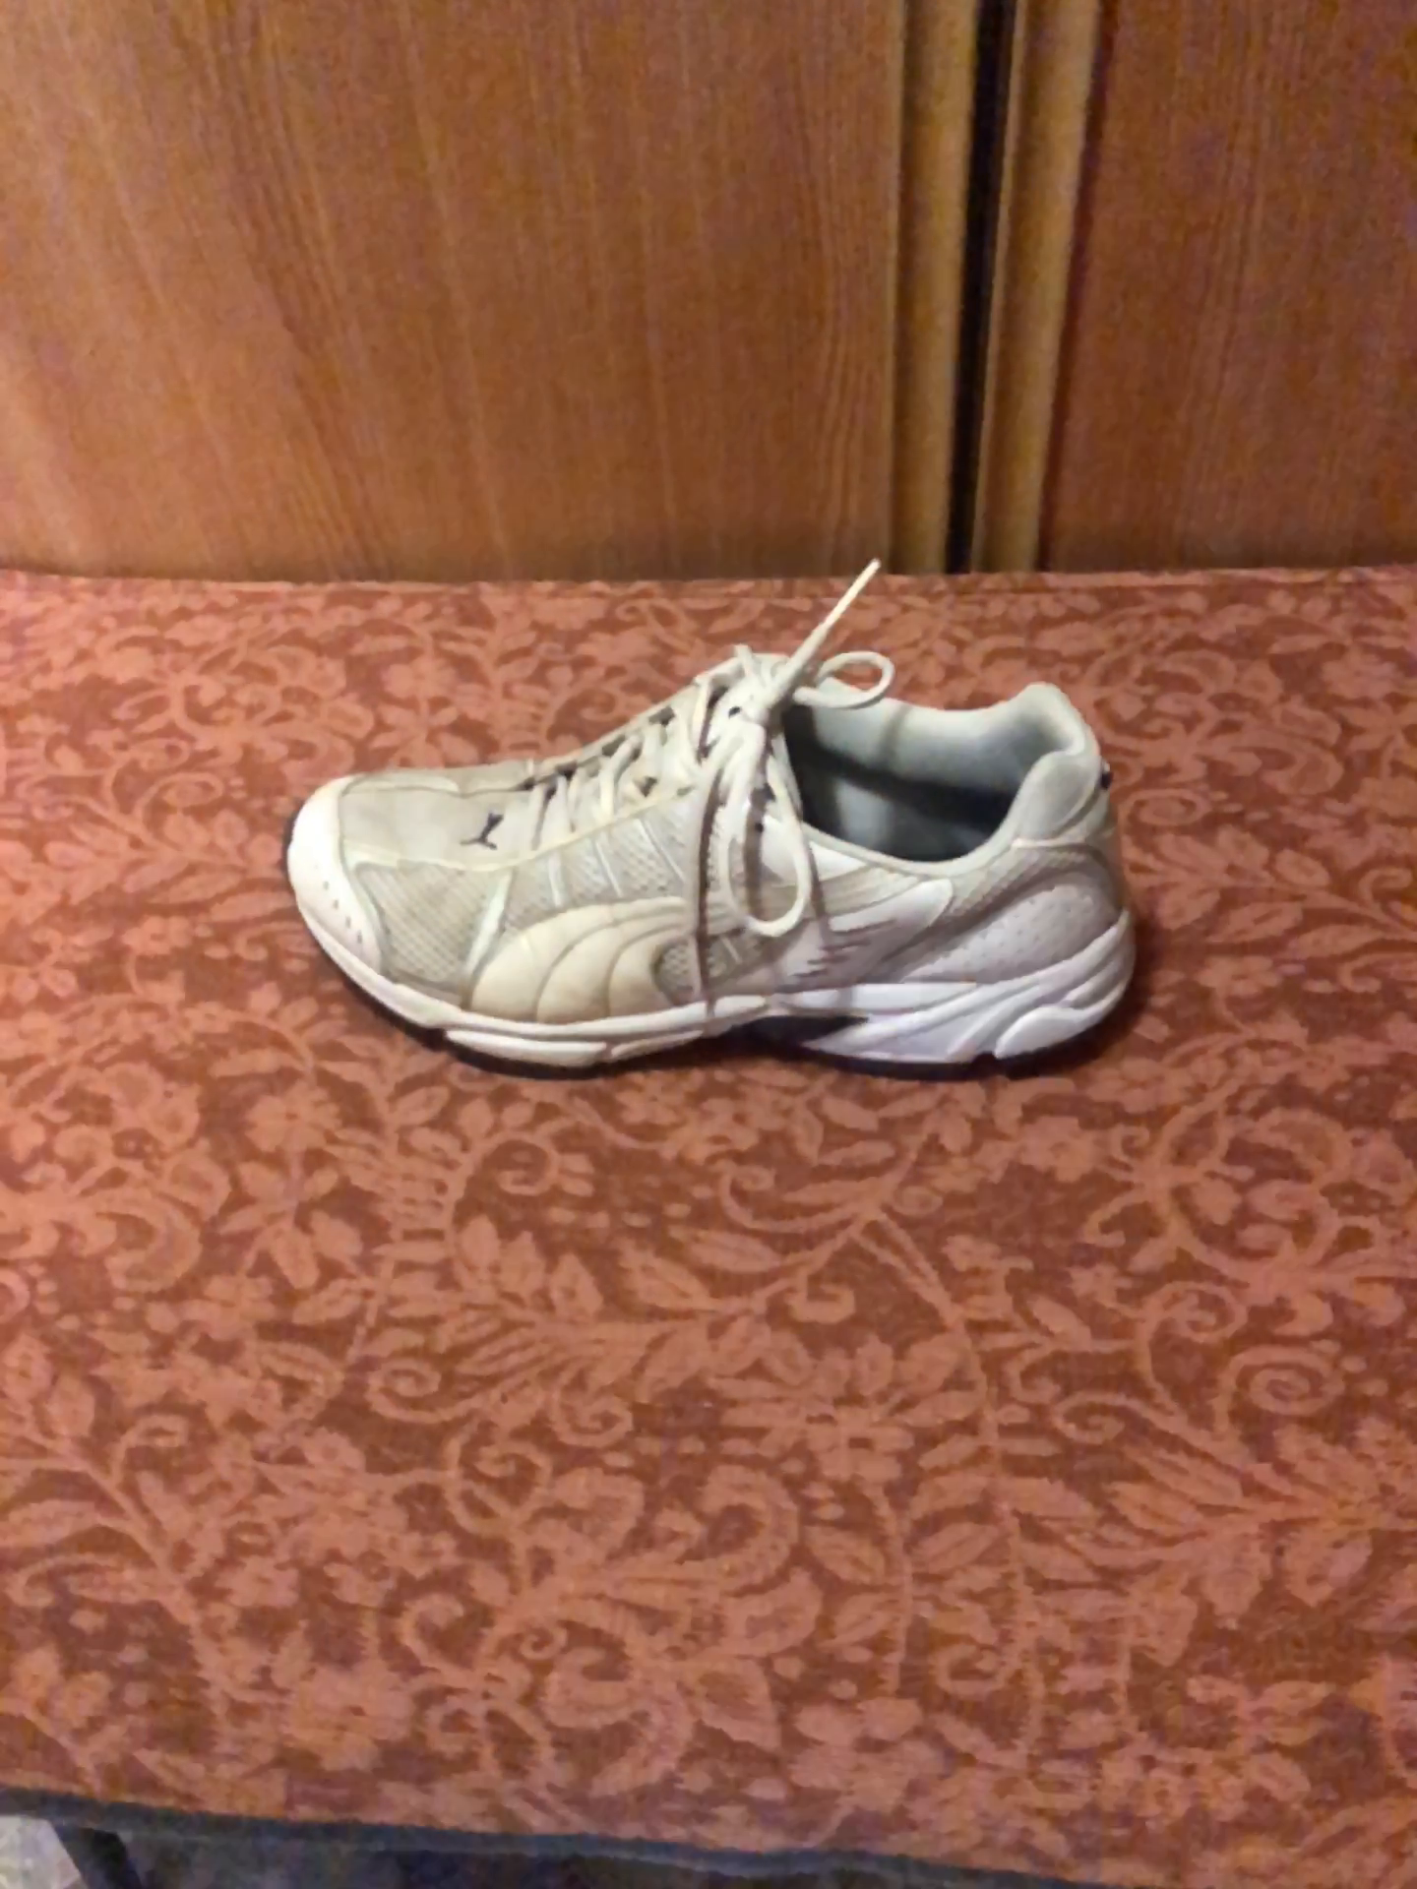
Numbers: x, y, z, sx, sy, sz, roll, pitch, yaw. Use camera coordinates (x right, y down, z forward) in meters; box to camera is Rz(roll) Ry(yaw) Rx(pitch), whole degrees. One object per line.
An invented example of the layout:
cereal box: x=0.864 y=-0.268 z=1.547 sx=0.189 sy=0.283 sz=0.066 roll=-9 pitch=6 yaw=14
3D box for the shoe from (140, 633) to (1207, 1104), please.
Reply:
shoe: x=-0.007 y=-0.026 z=0.494 sx=0.290 sy=0.100 sz=0.100 roll=2 pitch=48 yaw=6
